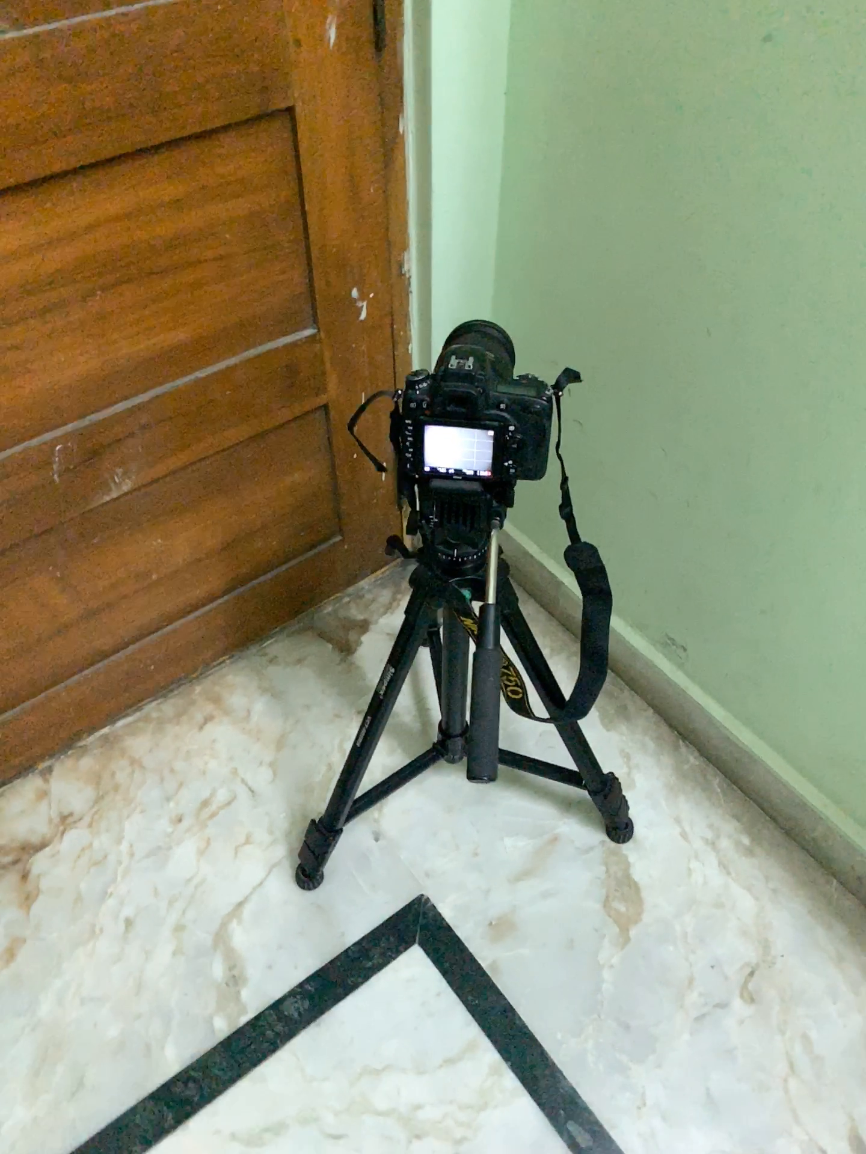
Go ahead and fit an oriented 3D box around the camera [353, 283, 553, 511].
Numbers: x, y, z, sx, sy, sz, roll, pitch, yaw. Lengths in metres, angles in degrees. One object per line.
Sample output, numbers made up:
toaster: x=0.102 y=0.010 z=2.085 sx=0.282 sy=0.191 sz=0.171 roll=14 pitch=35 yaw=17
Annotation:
camera: x=0.026 y=-0.183 z=0.881 sx=0.175 sy=0.128 sz=0.190 roll=4 pitch=48 yaw=4
